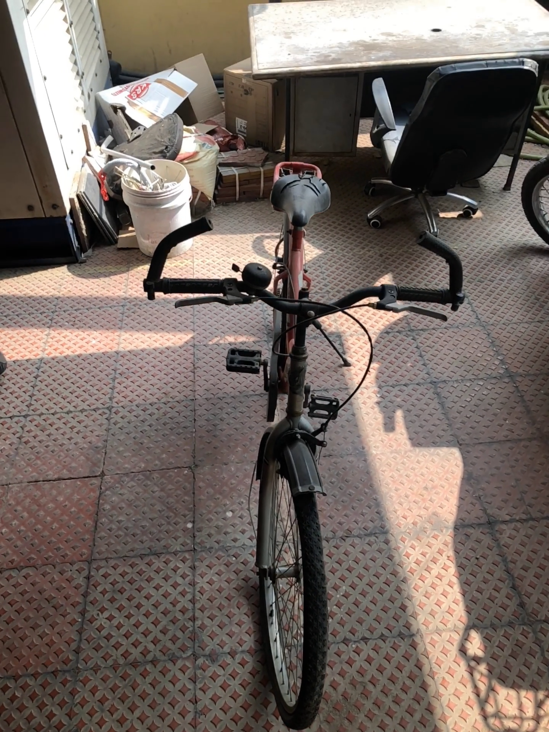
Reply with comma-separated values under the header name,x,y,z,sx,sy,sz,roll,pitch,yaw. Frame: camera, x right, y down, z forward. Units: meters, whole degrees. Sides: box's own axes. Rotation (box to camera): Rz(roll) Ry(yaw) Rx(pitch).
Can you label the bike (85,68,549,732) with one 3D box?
name,x,y,z,sx,sy,sz,roll,pitch,yaw
bike,0.077,-0.027,1.596,0.575,0.963,1.620,-1,43,0
